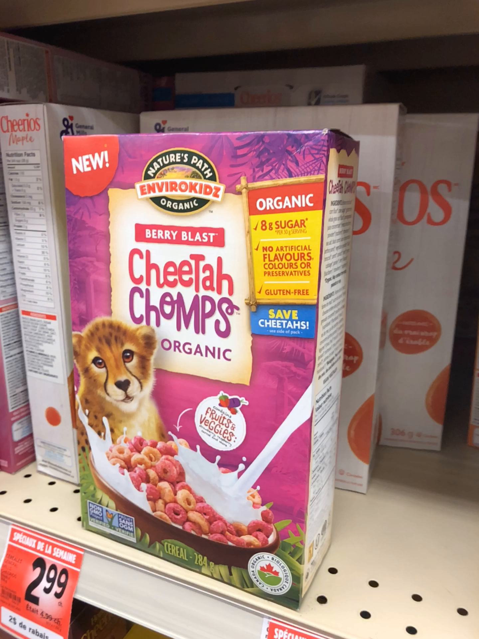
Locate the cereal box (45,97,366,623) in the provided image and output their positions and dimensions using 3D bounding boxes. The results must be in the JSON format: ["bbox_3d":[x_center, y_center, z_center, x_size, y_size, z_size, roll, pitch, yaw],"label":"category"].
[{"bbox_3d":[-0.023,0.016,0.316,0.160,0.259,0.070,8,15,26],"label":"cereal box"}]
